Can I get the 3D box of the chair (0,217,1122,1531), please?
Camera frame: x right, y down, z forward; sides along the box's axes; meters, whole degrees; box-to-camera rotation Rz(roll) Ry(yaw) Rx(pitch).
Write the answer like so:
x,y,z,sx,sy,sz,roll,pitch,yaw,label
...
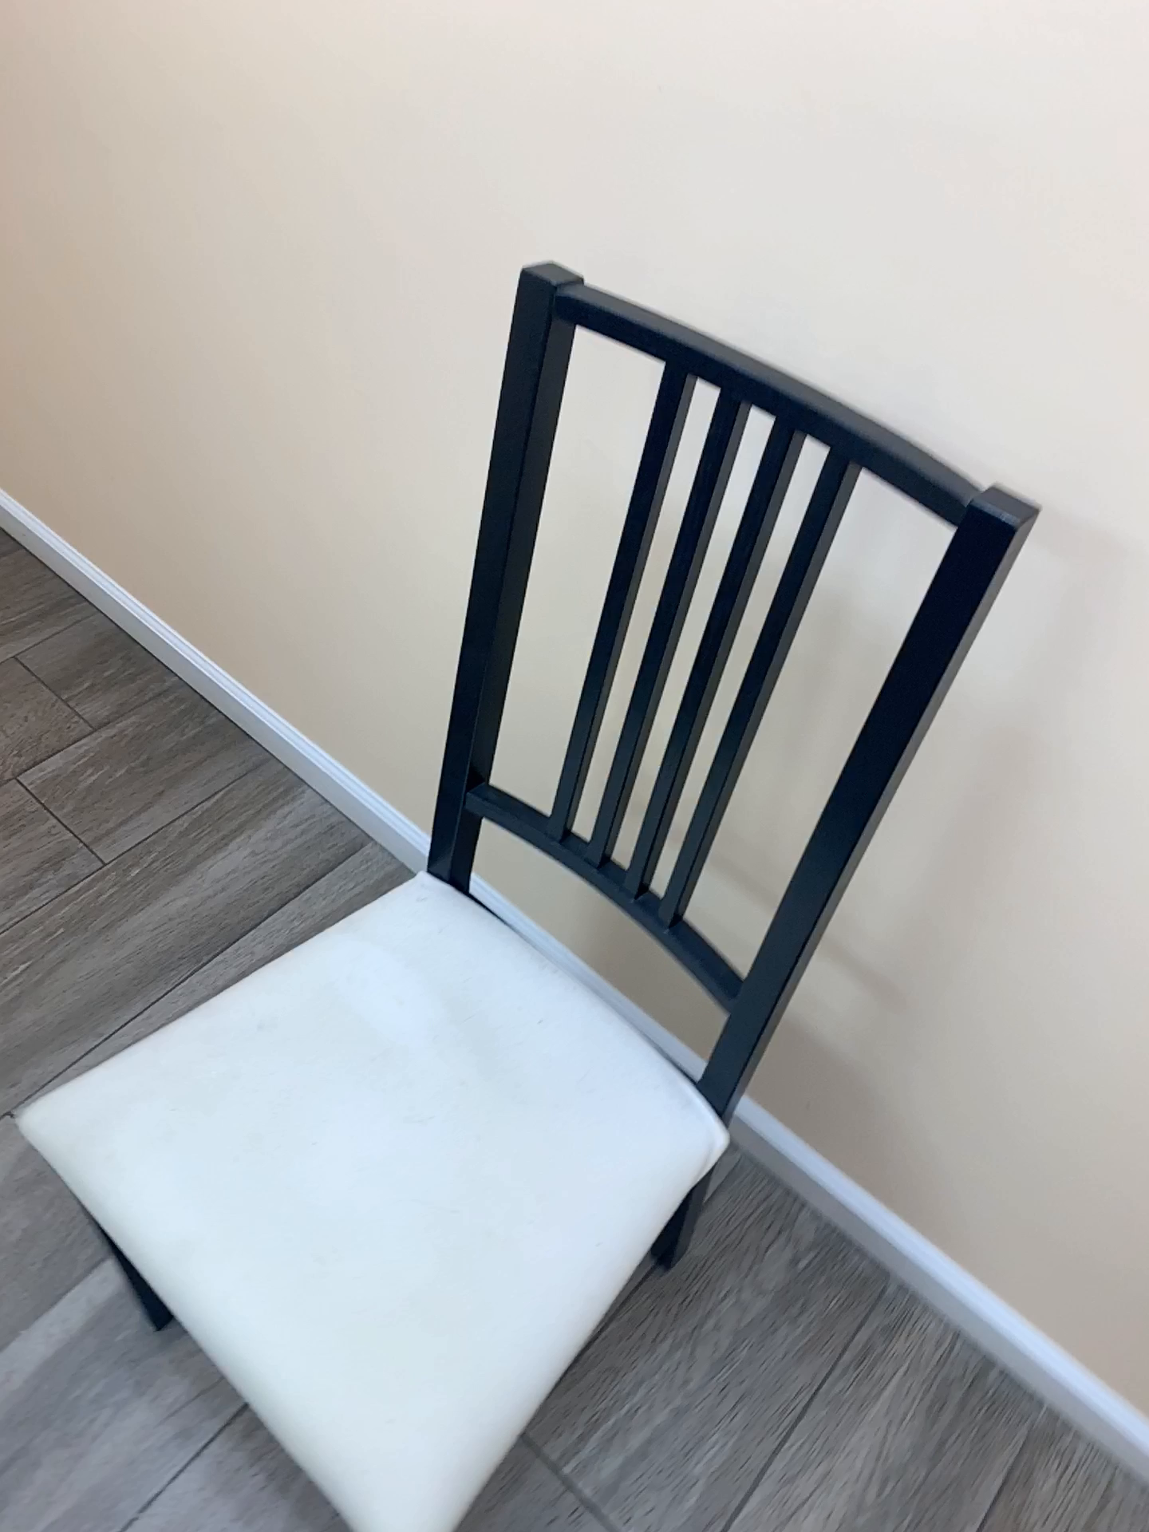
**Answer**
x,y,z,sx,sy,sz,roll,pitch,yaw,label
-0.095,0.213,0.893,0.439,0.963,0.499,36,54,23,chair
